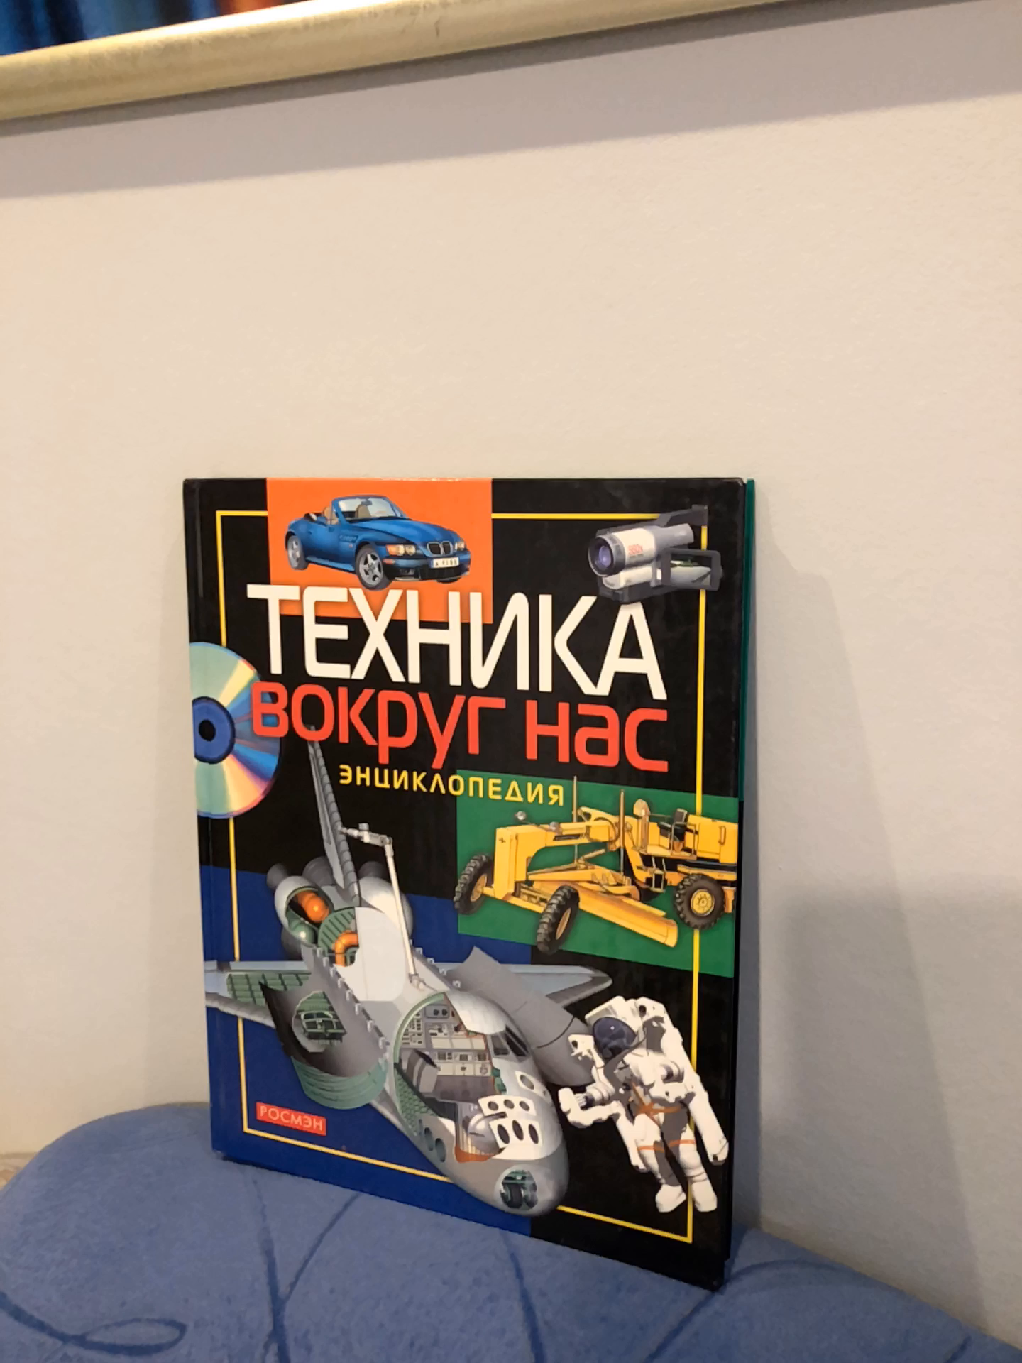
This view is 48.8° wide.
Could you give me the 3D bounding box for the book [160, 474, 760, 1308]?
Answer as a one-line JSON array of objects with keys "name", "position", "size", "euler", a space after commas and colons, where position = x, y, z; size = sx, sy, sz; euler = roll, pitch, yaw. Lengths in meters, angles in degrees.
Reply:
[{"name": "book", "position": [-0.024, 0.067, 0.419], "size": [0.220, 0.279, 0.030], "euler": [3, 9, 23]}]
